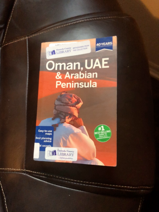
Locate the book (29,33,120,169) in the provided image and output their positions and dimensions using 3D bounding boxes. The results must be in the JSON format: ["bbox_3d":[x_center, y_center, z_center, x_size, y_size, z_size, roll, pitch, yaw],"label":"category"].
[{"bbox_3d":[-0.006,-0.009,0.291,0.137,0.030,0.203,0,83,11],"label":"book"}]
